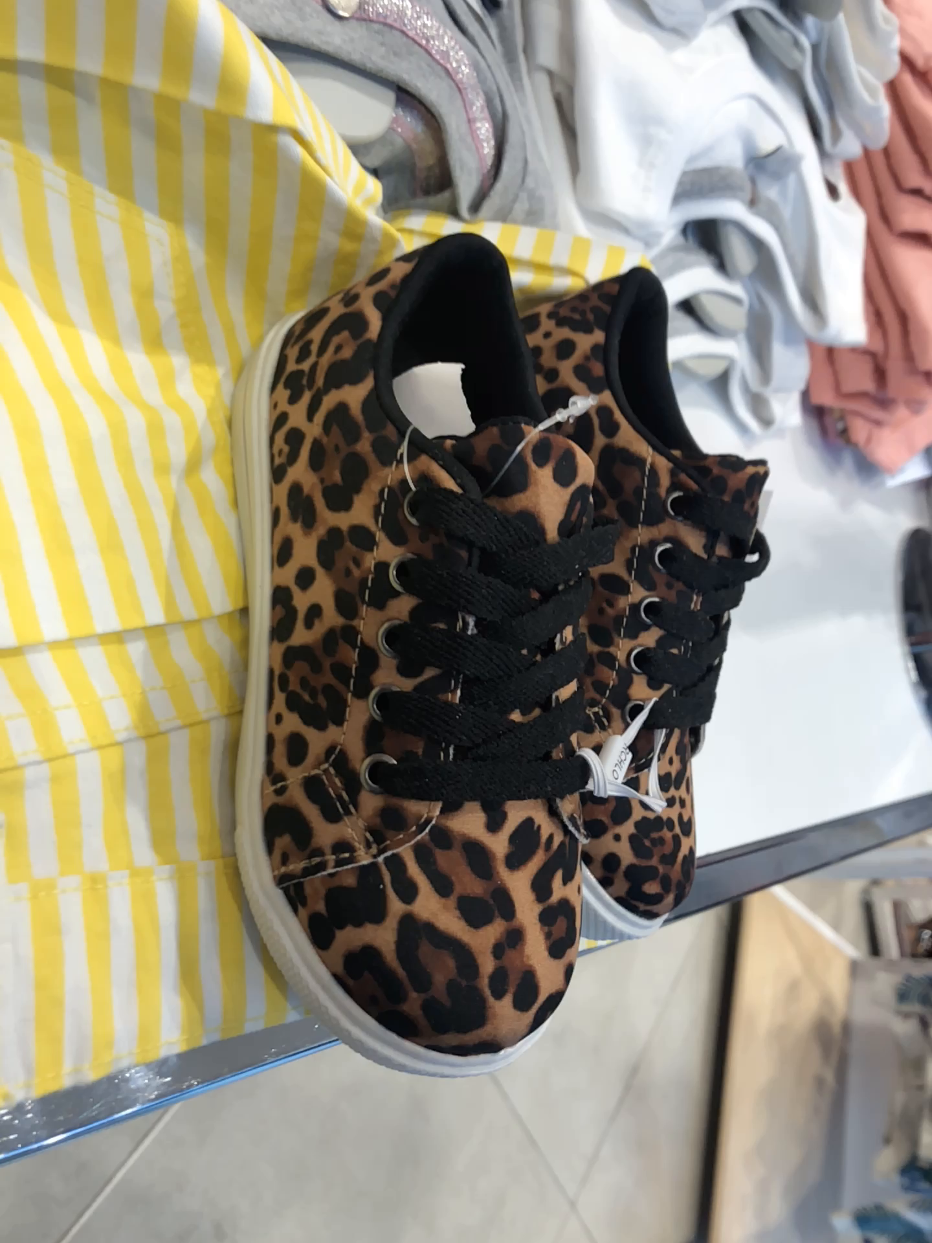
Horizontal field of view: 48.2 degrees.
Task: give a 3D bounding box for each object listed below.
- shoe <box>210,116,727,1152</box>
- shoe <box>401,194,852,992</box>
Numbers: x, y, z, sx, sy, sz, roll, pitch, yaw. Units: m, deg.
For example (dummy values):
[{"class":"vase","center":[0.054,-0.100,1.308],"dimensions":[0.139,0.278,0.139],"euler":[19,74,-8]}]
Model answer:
[{"class":"shoe","center":[-0.005,0.001,0.213],"dimensions":[0.080,0.060,0.170],"euler":[1,82,-25]},{"class":"shoe","center":[0.041,-0.002,0.274],"dimensions":[0.081,0.079,0.170],"euler":[9,76,-51]}]
